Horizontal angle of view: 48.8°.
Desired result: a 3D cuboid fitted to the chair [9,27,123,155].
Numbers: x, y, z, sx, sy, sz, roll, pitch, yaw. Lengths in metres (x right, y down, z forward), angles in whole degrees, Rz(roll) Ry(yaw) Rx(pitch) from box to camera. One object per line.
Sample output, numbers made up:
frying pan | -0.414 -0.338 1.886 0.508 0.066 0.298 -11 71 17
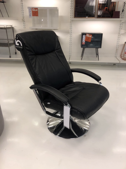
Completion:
chair | 0.033 -0.058 1.522 0.802 0.993 0.733 20 31 36
